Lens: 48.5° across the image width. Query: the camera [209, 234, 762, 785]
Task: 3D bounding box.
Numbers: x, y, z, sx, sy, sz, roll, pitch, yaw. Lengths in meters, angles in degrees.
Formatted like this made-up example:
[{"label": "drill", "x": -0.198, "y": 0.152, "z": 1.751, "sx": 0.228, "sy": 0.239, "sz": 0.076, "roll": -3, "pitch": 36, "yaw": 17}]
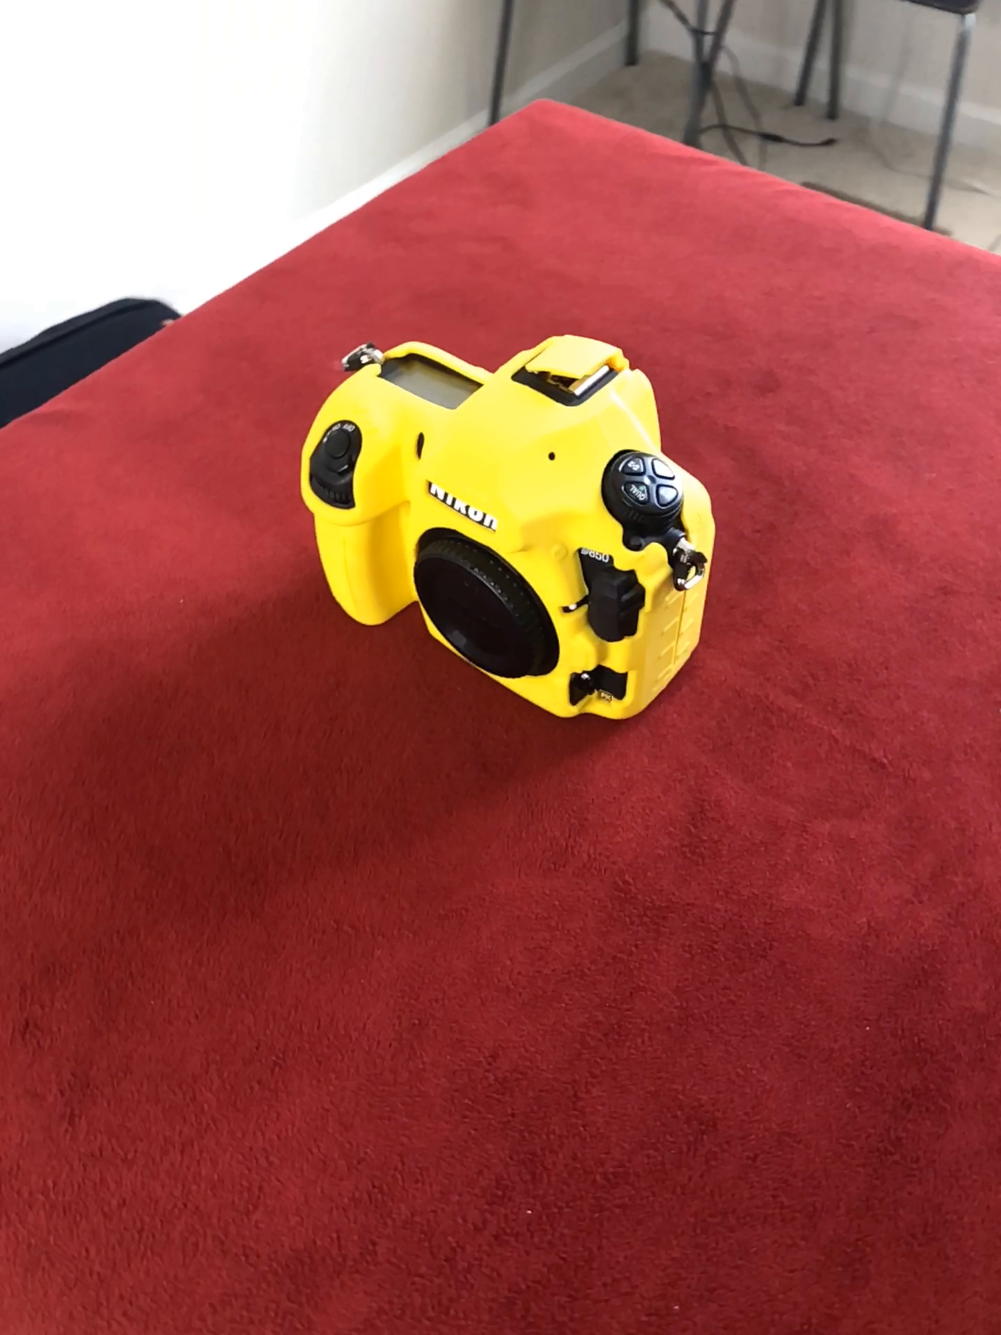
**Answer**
[{"label": "camera", "x": -0.006, "y": -0.058, "z": 0.398, "sx": 0.161, "sy": 0.116, "sz": 0.082, "roll": 31, "pitch": 60, "yaw": 25}]
